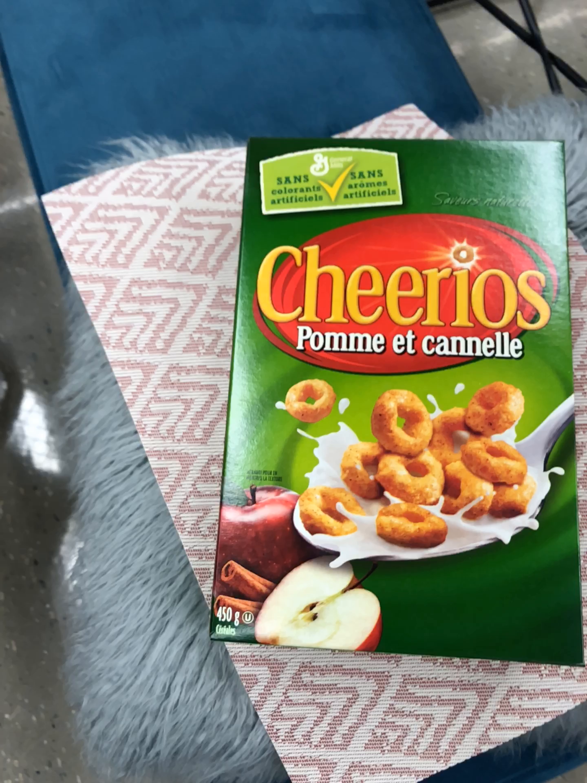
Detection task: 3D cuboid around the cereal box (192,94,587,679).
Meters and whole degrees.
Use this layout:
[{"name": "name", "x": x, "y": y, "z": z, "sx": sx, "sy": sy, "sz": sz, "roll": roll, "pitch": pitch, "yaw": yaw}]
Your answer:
[{"name": "cereal box", "x": 0.061, "y": -0.009, "z": 0.385, "sx": 0.210, "sy": 0.070, "sz": 0.310, "roll": 2, "pitch": 80, "yaw": 0}]
